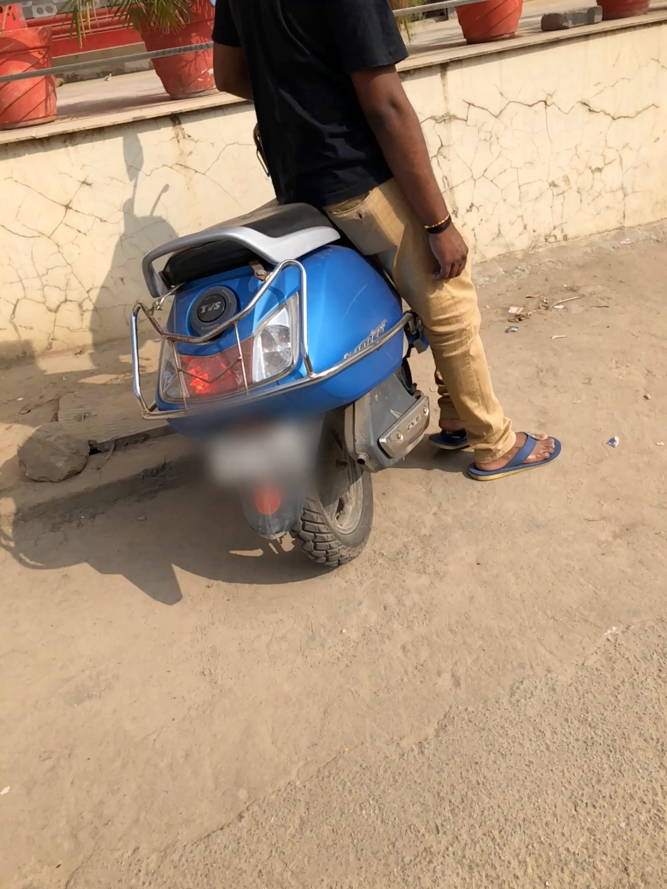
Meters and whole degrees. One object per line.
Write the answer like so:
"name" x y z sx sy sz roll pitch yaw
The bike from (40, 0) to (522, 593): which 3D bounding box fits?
"bike" 0.119 -0.559 2.012 0.593 1.021 1.580 2 35 19
